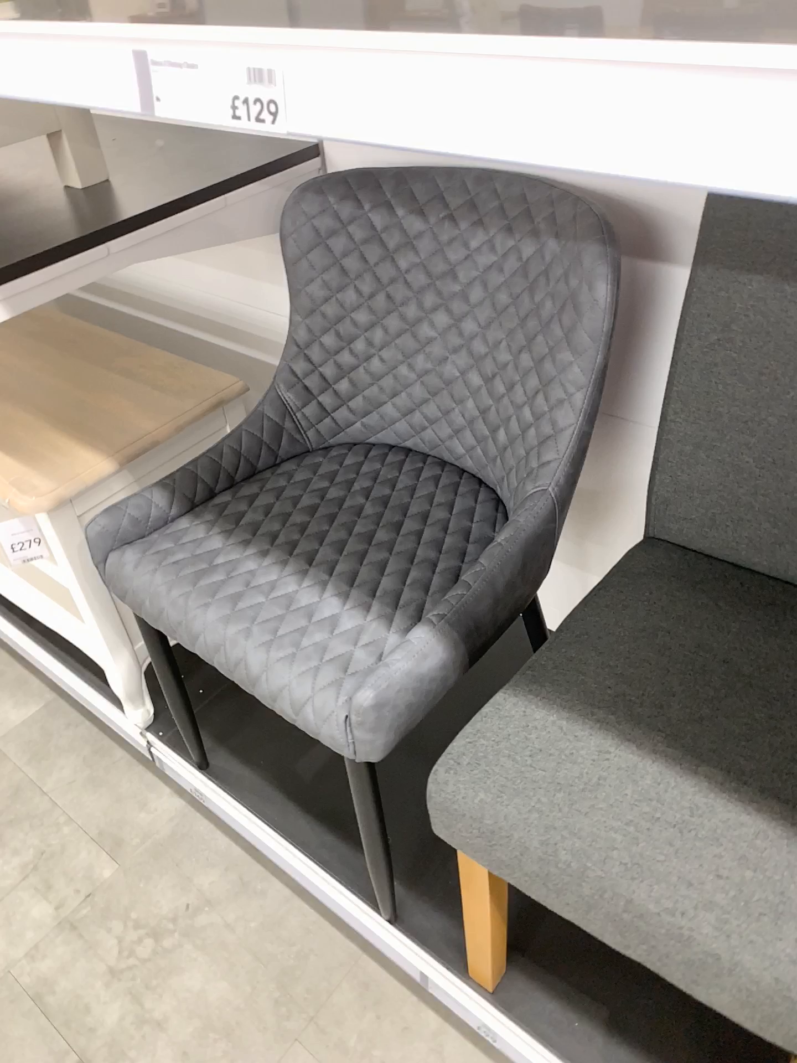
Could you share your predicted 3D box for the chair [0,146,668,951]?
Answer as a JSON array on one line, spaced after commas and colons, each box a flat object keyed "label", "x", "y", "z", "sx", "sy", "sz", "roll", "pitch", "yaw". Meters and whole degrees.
[{"label": "chair", "x": -0.035, "y": 0.004, "z": 1.081, "sx": 0.482, "sy": 0.792, "sz": 0.543, "roll": 24, "pitch": 48, "yaw": 33}]

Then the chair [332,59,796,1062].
[{"label": "chair", "x": 0.345, "y": 0.124, "z": 0.787, "sx": 0.432, "sy": 0.911, "sz": 0.563, "roll": 24, "pitch": 48, "yaw": 32}]
